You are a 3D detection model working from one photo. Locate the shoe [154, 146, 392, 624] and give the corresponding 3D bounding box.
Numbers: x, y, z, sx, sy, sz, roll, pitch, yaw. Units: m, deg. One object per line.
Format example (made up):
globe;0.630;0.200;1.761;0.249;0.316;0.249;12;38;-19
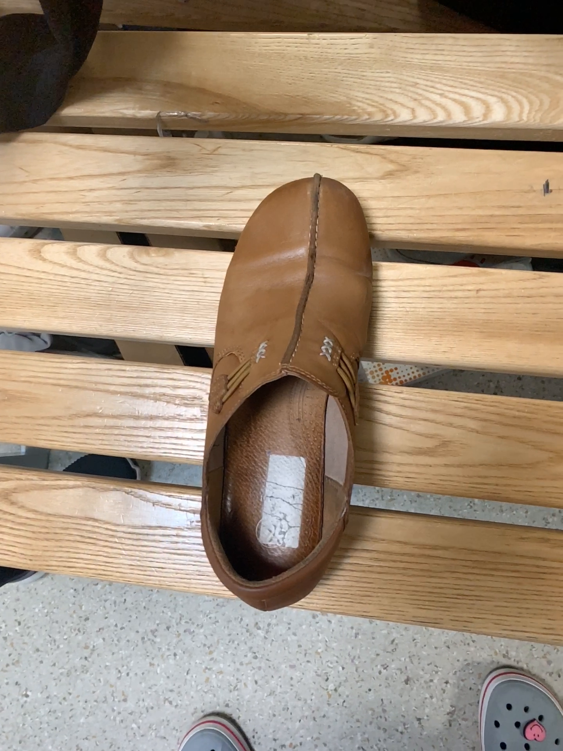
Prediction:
shoe;0.002;0.002;0.343;0.112;0.085;0.245;2;84;8
